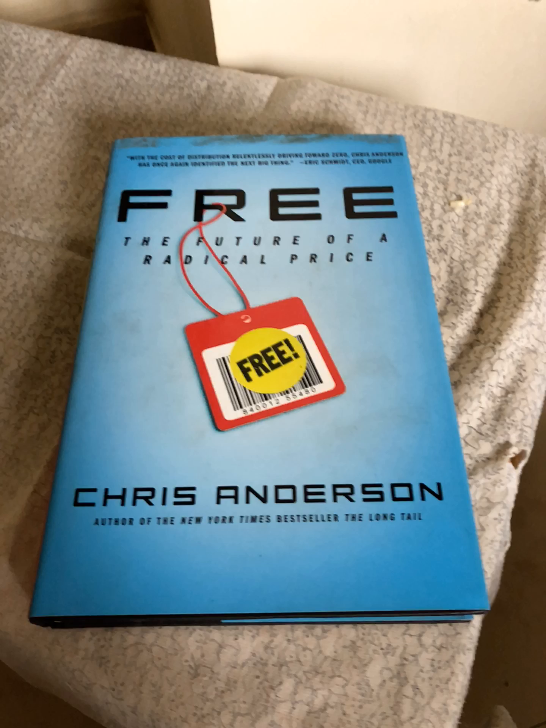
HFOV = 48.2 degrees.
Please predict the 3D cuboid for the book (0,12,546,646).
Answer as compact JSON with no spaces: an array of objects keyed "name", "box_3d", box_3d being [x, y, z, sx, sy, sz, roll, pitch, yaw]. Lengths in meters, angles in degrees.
[{"name":"book","box_3d":[-0.004,-0.043,0.249,0.180,0.040,0.281,-2,57,2]}]
